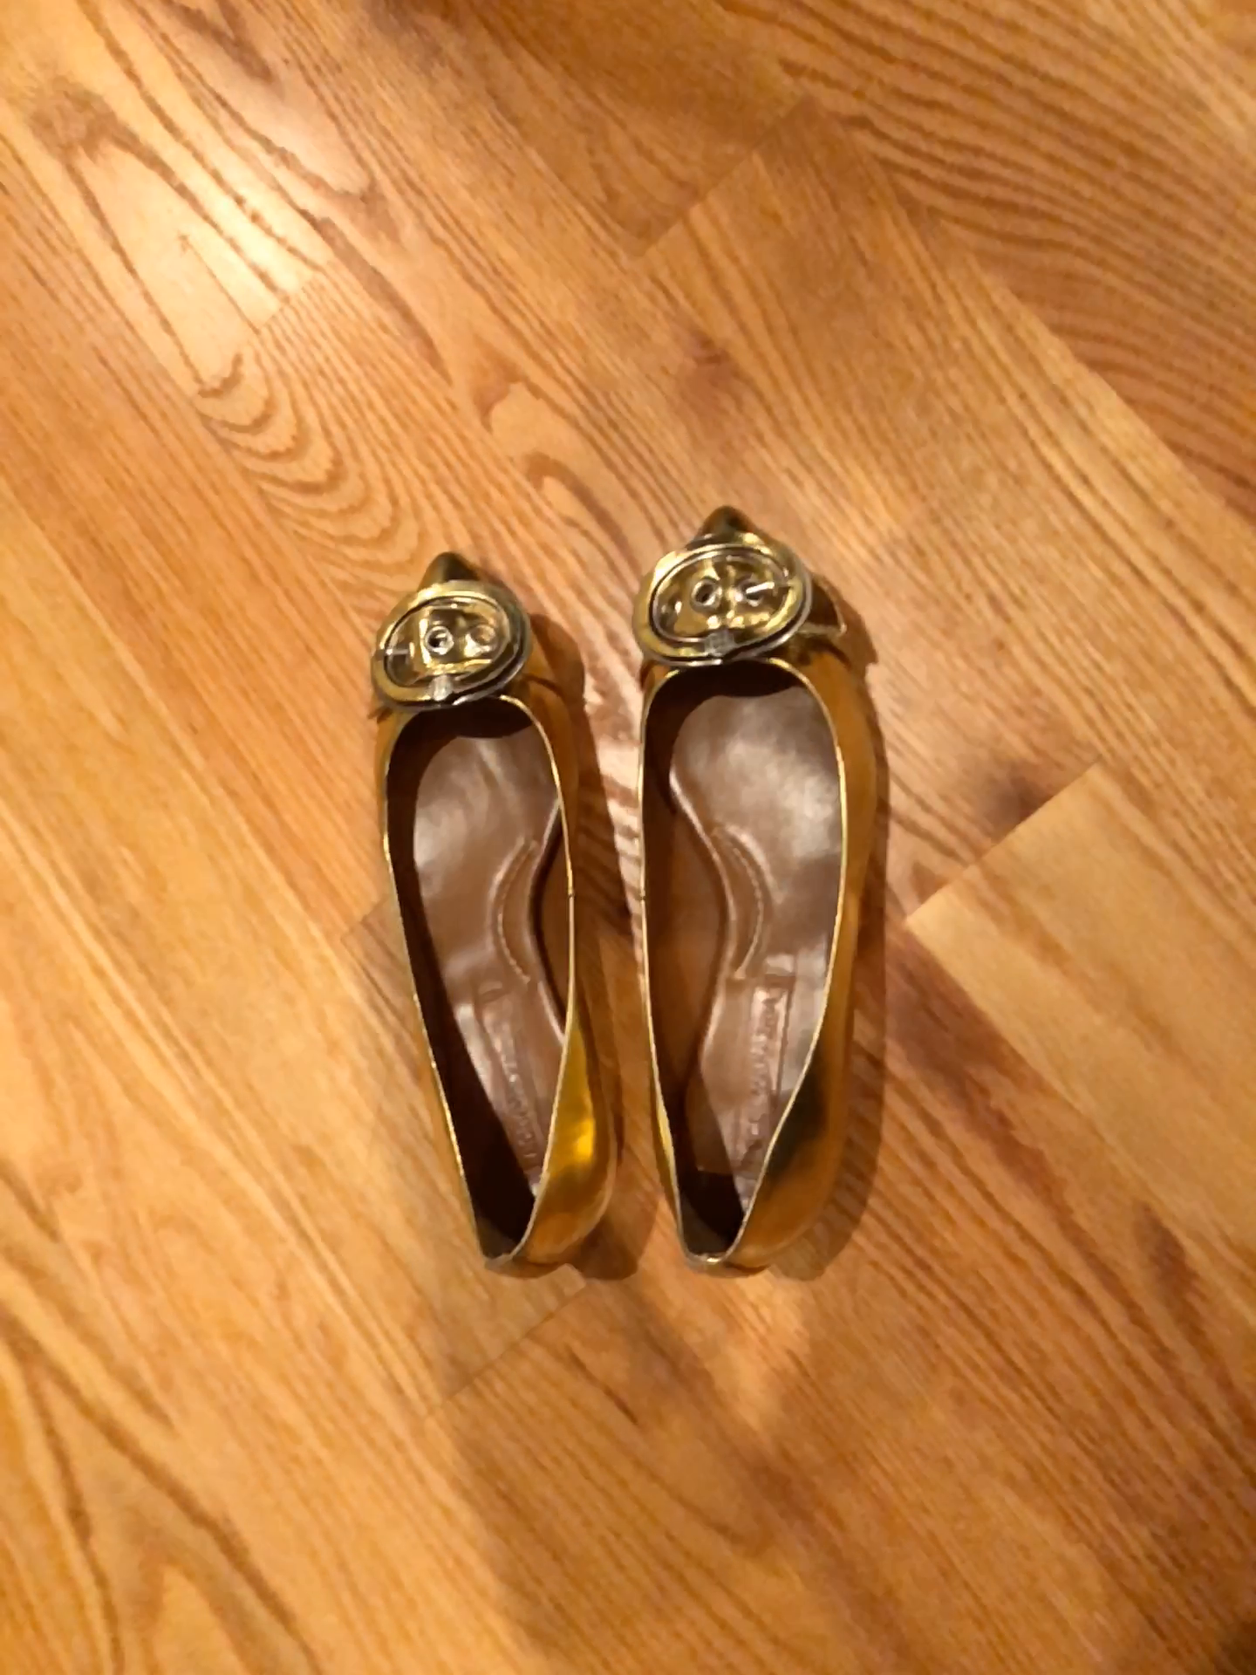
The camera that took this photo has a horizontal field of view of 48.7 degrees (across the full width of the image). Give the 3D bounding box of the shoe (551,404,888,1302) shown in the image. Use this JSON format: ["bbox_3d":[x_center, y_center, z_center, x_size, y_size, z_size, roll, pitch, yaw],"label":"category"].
[{"bbox_3d":[0.029,0.006,0.426,0.077,0.066,0.249,-4,84,16],"label":"shoe"}]

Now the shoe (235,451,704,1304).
[{"bbox_3d":[-0.051,0.012,0.449,0.082,0.066,0.244,-16,81,15],"label":"shoe"}]
